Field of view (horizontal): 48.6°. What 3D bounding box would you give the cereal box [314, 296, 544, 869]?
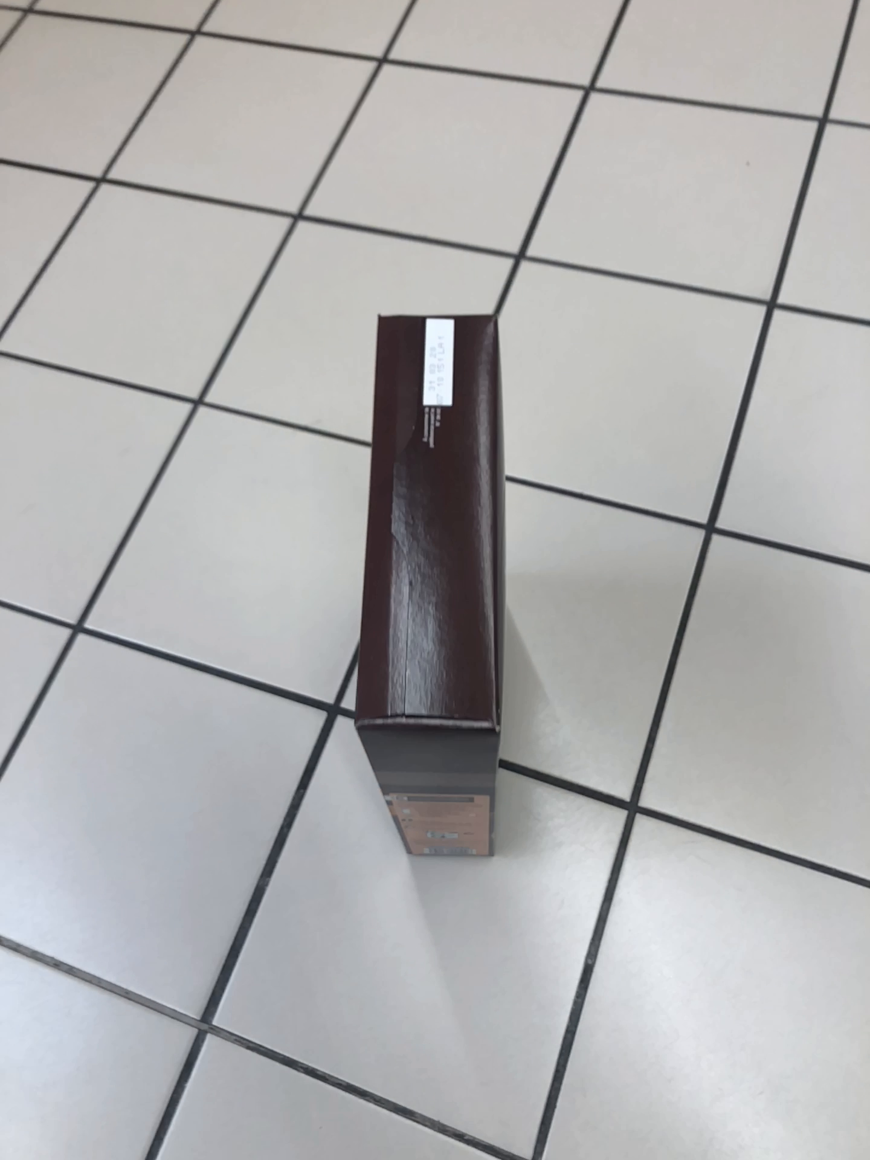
[{"bbox_3d":[0.007,0.025,0.500,0.080,0.269,0.201,-1,65,3],"label":"cereal box"}]
